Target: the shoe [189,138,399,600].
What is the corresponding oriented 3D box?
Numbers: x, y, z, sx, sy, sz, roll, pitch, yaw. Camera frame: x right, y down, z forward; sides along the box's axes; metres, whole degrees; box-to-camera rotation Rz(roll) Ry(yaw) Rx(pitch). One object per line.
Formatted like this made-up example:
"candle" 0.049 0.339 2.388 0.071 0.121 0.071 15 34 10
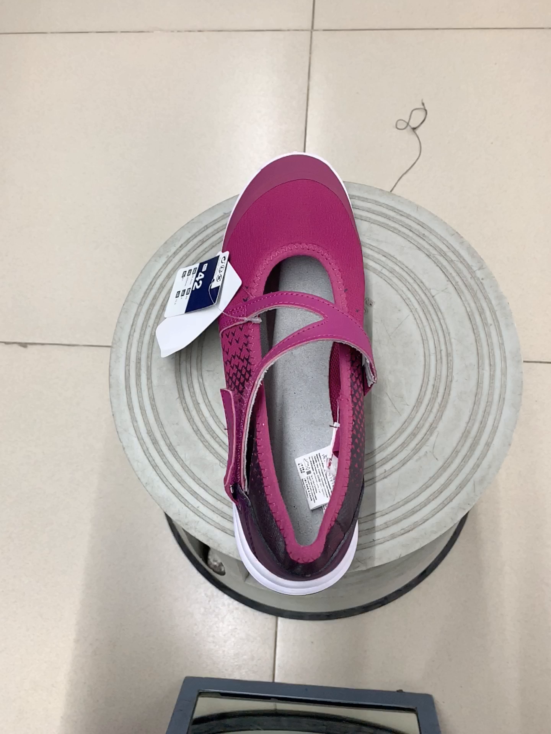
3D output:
"shoe" 0.005 -0.003 0.344 0.100 0.070 0.260 -4 72 3
